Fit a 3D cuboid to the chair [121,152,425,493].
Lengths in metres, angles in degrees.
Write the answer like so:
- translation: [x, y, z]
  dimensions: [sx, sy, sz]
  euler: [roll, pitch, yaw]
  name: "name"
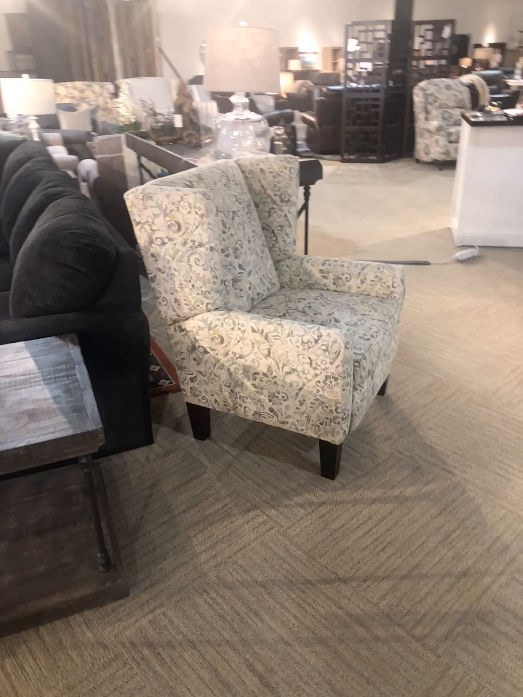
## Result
- translation: [0.088, -0.181, 2.212]
  dimensions: [0.800, 0.975, 0.784]
  euler: [12, 29, 25]
  name: "chair"
